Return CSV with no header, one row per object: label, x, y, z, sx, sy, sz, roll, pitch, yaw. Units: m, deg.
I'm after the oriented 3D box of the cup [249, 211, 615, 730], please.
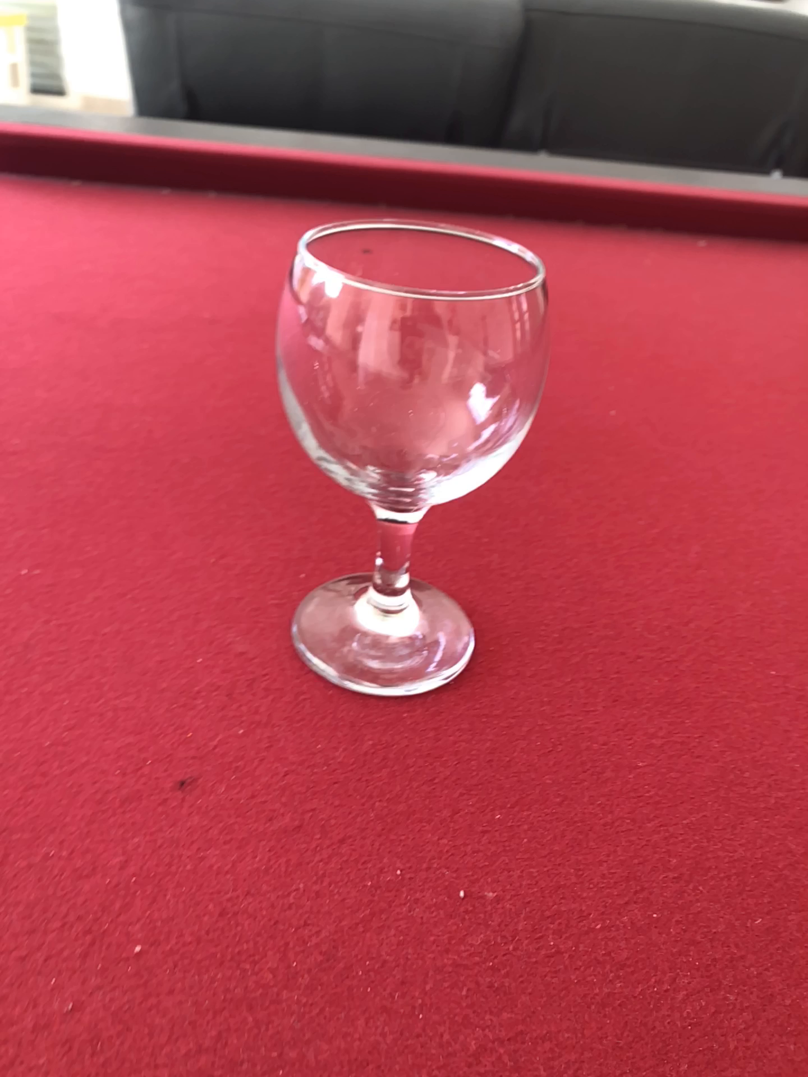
cup,0.002,-0.023,0.279,0.070,0.129,0.070,5,32,-3
